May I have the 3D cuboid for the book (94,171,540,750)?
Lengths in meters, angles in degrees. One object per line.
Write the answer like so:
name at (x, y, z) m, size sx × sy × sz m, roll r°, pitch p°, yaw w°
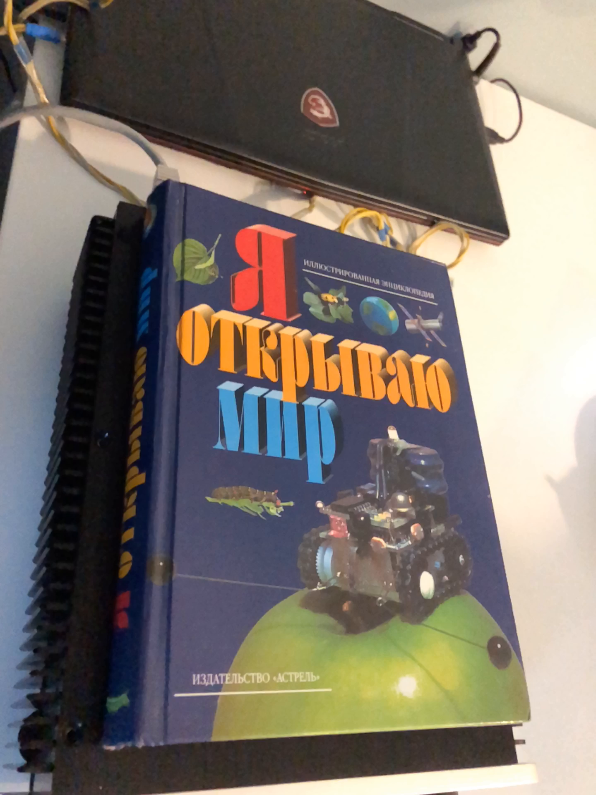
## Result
book at (0.011, 0.022, 0.323) m, size 0.186 × 0.030 × 0.256 m, roll 11°, pitch 60°, yaw -25°
